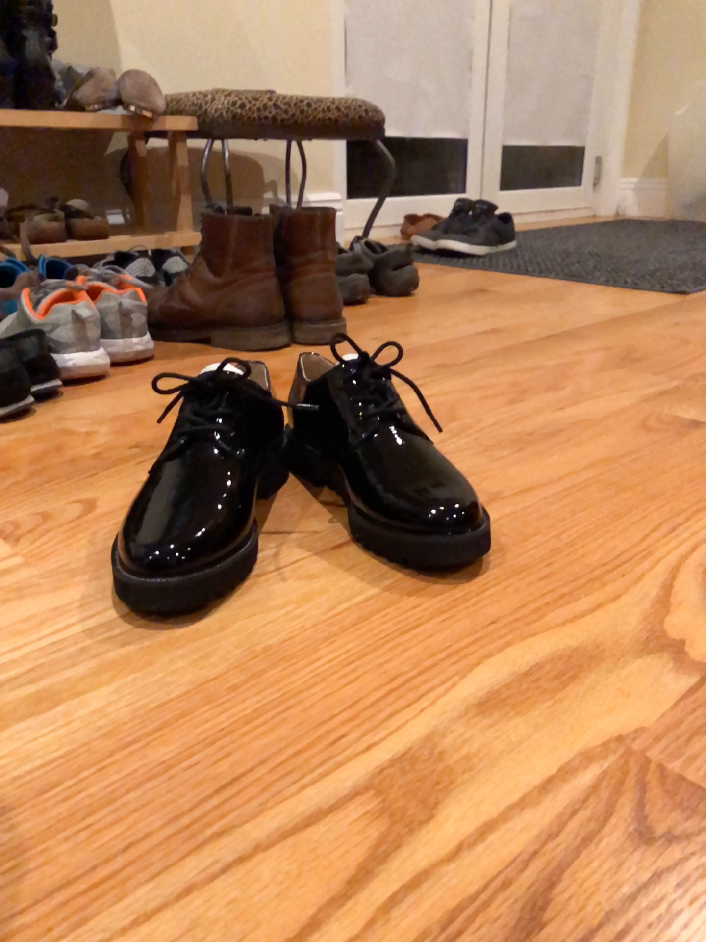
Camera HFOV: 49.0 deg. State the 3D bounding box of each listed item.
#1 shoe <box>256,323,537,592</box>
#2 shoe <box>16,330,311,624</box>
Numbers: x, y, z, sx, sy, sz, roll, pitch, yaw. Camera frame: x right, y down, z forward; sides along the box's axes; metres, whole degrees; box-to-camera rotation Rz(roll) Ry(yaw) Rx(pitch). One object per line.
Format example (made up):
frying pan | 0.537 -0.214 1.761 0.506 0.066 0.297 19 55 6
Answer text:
shoe | 0.014 -0.028 0.553 0.095 0.102 0.252 -9 24 -21
shoe | -0.102 -0.016 0.515 0.095 0.102 0.252 3 22 9
